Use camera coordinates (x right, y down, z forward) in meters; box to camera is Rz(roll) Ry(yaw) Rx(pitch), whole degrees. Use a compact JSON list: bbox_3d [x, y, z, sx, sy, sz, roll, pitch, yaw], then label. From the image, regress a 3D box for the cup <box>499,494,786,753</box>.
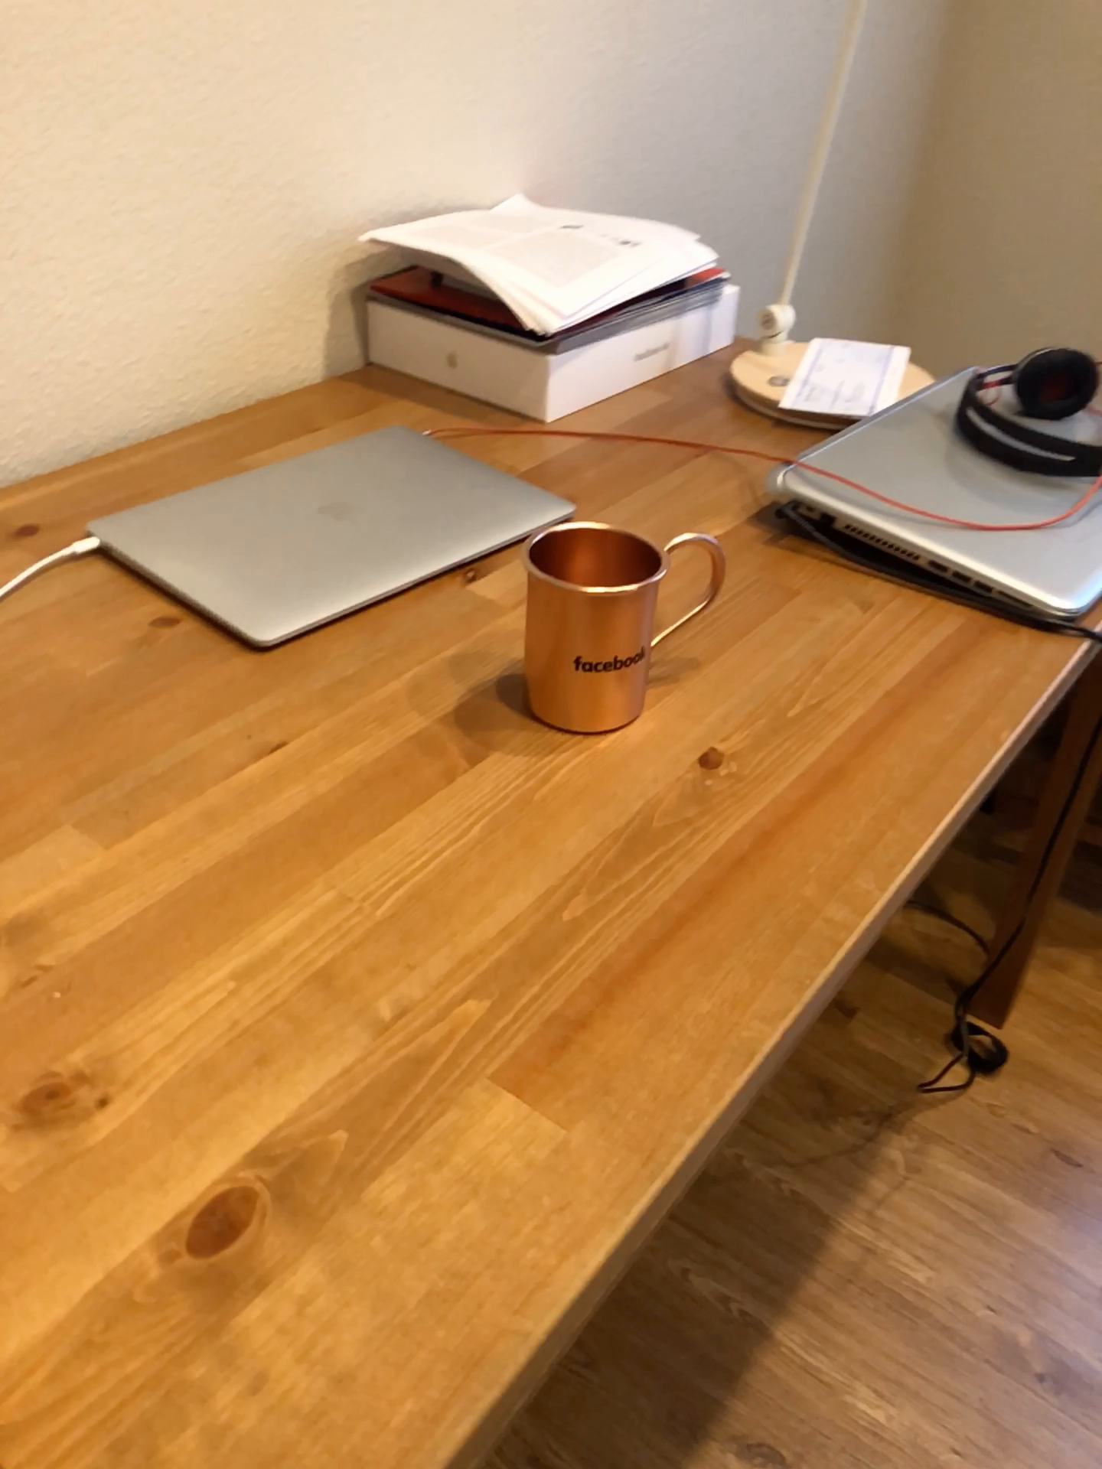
[{"bbox_3d":[0.047,-0.064,0.681,0.130,0.100,0.080,-11,37,-19],"label":"cup"}]
